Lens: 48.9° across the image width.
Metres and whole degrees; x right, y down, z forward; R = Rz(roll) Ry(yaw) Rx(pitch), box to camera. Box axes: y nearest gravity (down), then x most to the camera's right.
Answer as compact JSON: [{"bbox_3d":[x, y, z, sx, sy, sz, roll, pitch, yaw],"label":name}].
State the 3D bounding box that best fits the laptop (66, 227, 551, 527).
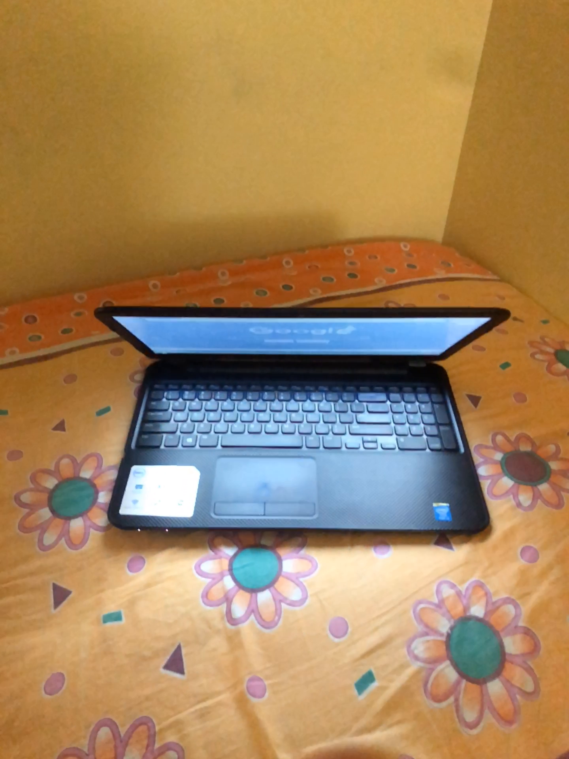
[{"bbox_3d":[0.016,-0.009,0.625,0.366,0.190,0.239,0,42,0],"label":"laptop"}]
